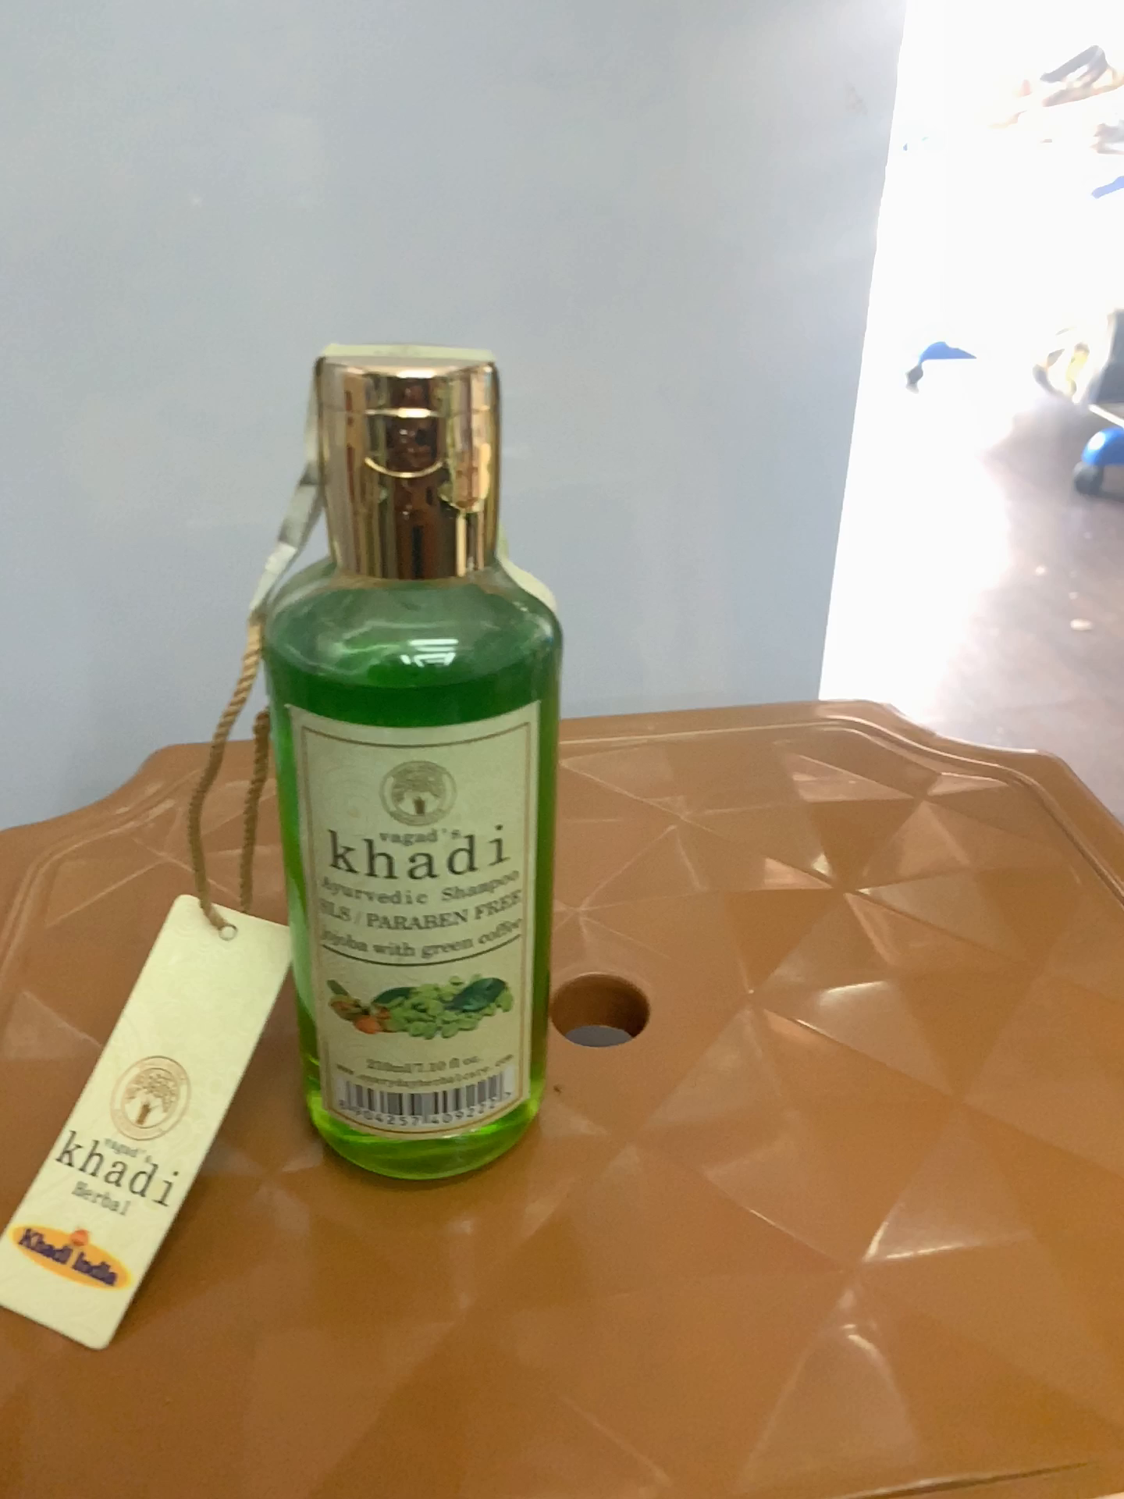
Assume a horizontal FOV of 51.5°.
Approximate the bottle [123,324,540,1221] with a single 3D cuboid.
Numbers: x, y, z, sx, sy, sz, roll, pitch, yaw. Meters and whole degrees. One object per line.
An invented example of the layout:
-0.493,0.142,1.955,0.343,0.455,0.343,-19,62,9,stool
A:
-0.030,0.009,0.202,0.050,0.149,0.050,0,28,0,bottle
